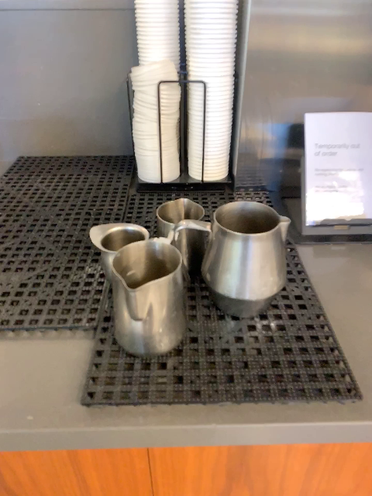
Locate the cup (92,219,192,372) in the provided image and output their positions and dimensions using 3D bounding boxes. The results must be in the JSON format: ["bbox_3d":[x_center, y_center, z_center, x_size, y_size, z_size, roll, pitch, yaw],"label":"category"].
[{"bbox_3d":[-0.041,0.051,0.440,0.080,0.119,0.121,5,35,7],"label":"cup"}]

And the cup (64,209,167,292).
[{"bbox_3d":[-0.090,0.001,0.505,0.110,0.070,0.070,8,35,12],"label":"cup"}]

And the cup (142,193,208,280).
[{"bbox_3d":[-0.011,-0.020,0.536,0.070,0.070,0.111,5,35,8],"label":"cup"}]

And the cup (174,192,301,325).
[{"bbox_3d":[0.066,0.010,0.490,0.140,0.119,0.101,7,35,11],"label":"cup"}]
